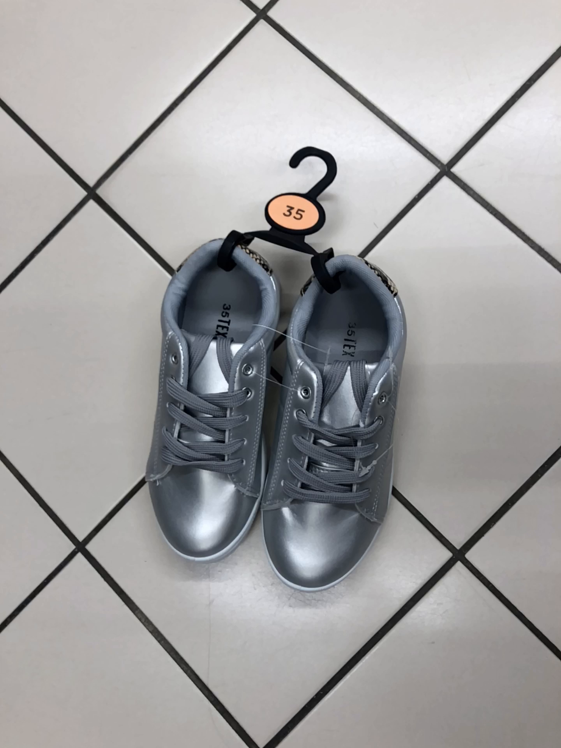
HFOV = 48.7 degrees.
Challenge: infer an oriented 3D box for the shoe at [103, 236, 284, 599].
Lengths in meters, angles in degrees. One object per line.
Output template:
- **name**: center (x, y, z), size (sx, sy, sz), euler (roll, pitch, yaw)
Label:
- **shoe**: center (-0.055, 0.028, 0.446), size (0.090, 0.090, 0.230), euler (3, 84, 8)

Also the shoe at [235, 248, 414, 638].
- **shoe**: center (0.034, 0.042, 0.424), size (0.090, 0.090, 0.230), euler (5, 84, 9)
